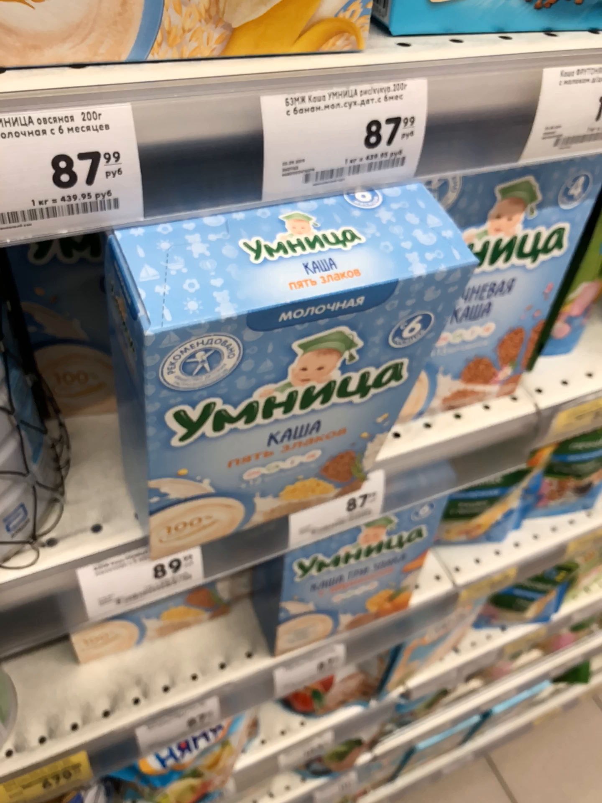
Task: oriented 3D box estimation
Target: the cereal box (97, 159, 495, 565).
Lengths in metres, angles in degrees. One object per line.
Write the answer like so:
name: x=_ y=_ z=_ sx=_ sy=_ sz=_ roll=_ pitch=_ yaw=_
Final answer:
cereal box: x=-0.016 y=-0.006 z=0.340 sx=0.140 sy=0.209 sz=0.060 roll=-15 pitch=61 yaw=-21
